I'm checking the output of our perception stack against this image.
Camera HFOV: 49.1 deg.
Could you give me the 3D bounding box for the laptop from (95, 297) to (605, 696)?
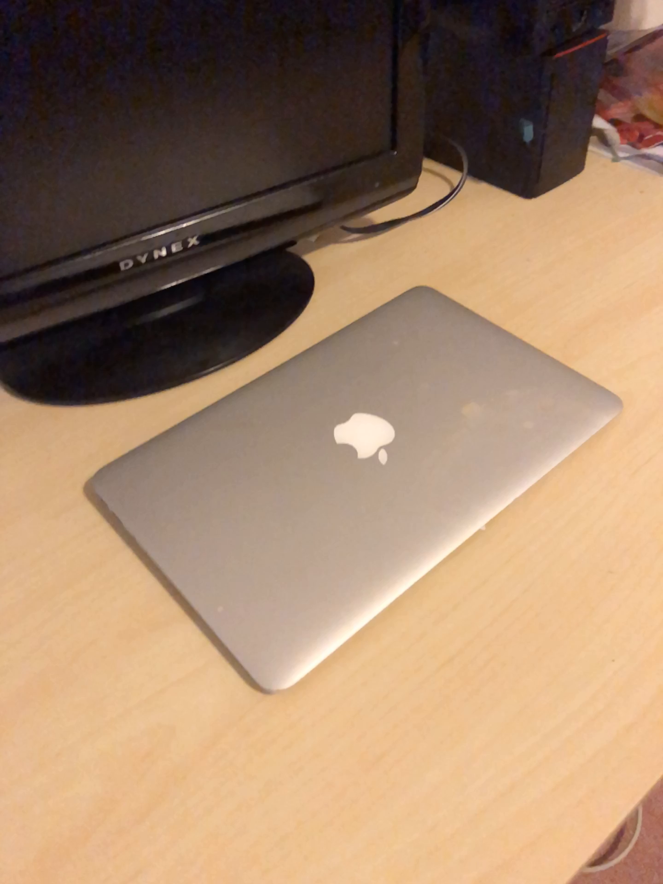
[{"bbox_3d":[0.017,0.005,0.465,0.279,0.005,0.181,-33,54,-27],"label":"laptop"}]
